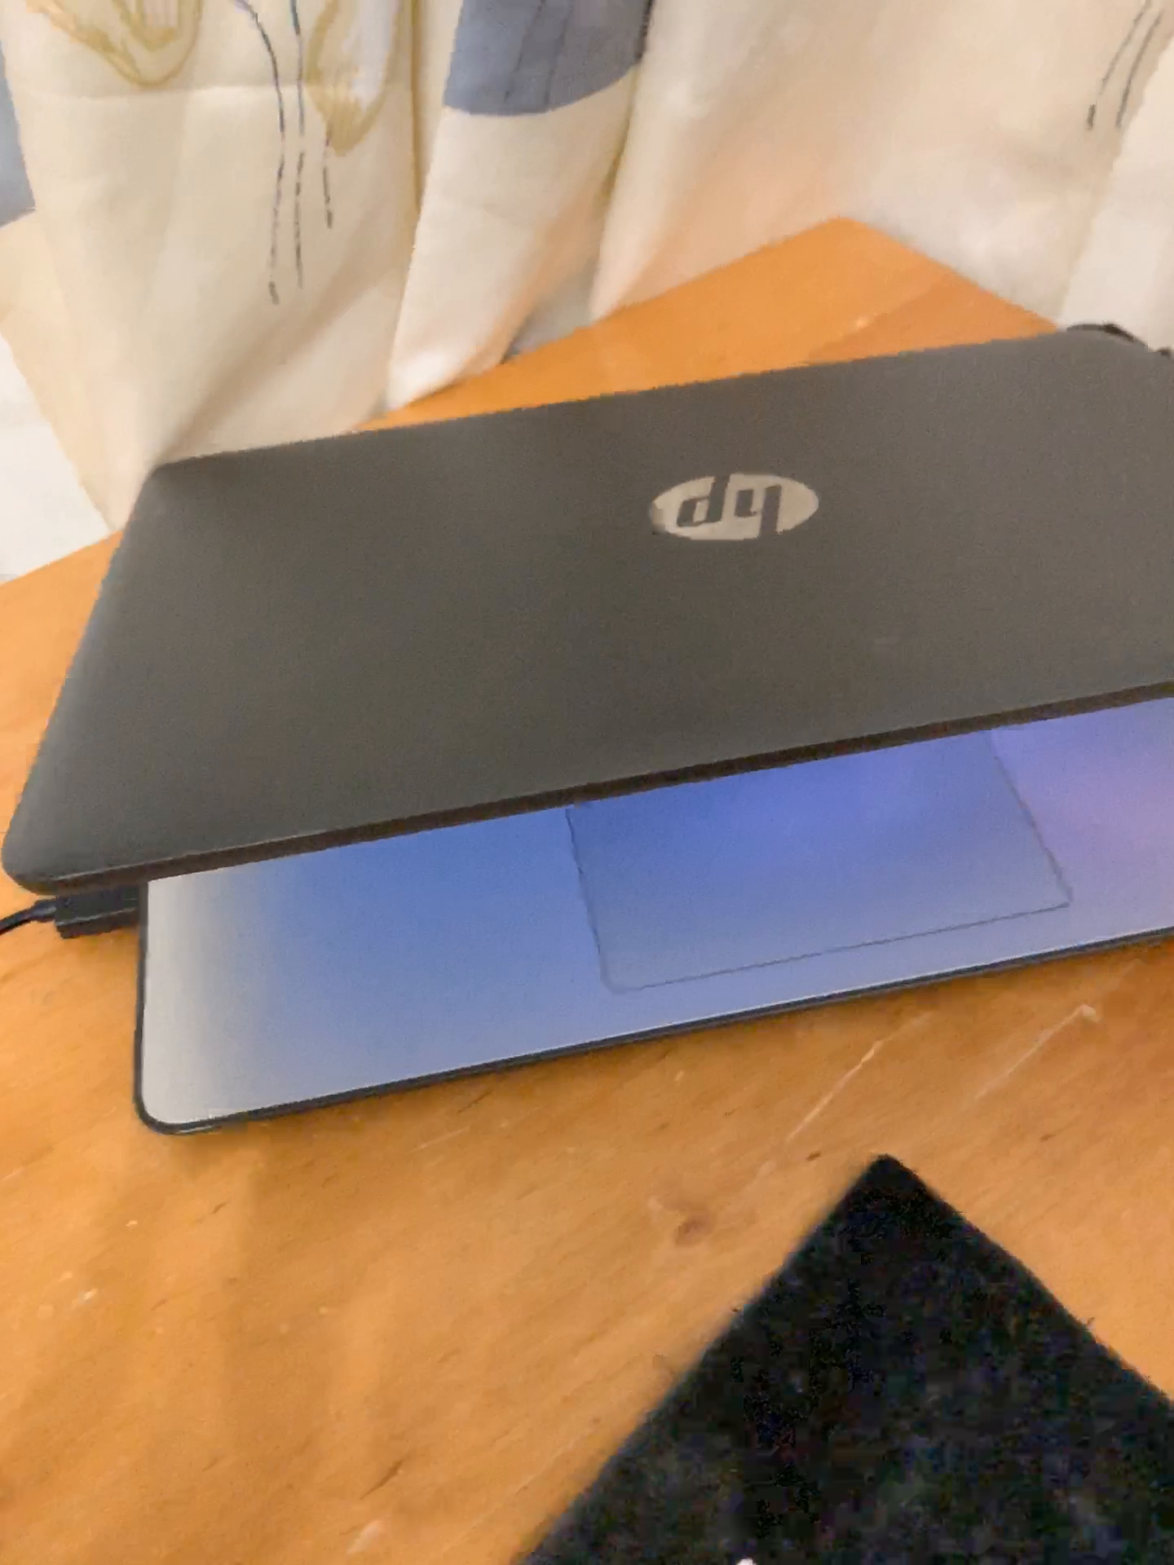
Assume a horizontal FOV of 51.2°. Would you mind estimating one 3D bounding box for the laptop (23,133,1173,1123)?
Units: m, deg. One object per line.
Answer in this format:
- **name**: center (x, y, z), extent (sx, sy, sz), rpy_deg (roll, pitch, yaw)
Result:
- **laptop**: center (0.033, -0.054, 0.273), extent (0.268, 0.066, 0.191), rpy_deg (-10, 51, -6)
